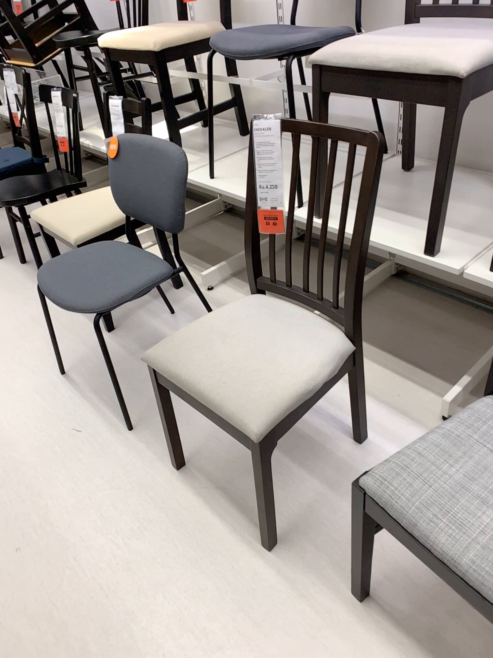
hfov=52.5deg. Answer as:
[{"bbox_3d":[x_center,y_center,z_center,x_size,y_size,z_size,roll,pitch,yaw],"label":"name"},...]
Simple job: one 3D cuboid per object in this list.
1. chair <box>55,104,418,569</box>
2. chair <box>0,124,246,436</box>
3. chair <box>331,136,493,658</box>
[{"bbox_3d":[0.030,0.017,1.251,0.531,0.916,0.482,-35,44,-30],"label":"chair"},{"bbox_3d":[-0.464,-0.205,1.778,0.572,0.787,0.611,25,48,36],"label":"chair"},{"bbox_3d":[0.517,0.252,0.860,0.530,0.916,0.482,-30,42,-25],"label":"chair"}]
